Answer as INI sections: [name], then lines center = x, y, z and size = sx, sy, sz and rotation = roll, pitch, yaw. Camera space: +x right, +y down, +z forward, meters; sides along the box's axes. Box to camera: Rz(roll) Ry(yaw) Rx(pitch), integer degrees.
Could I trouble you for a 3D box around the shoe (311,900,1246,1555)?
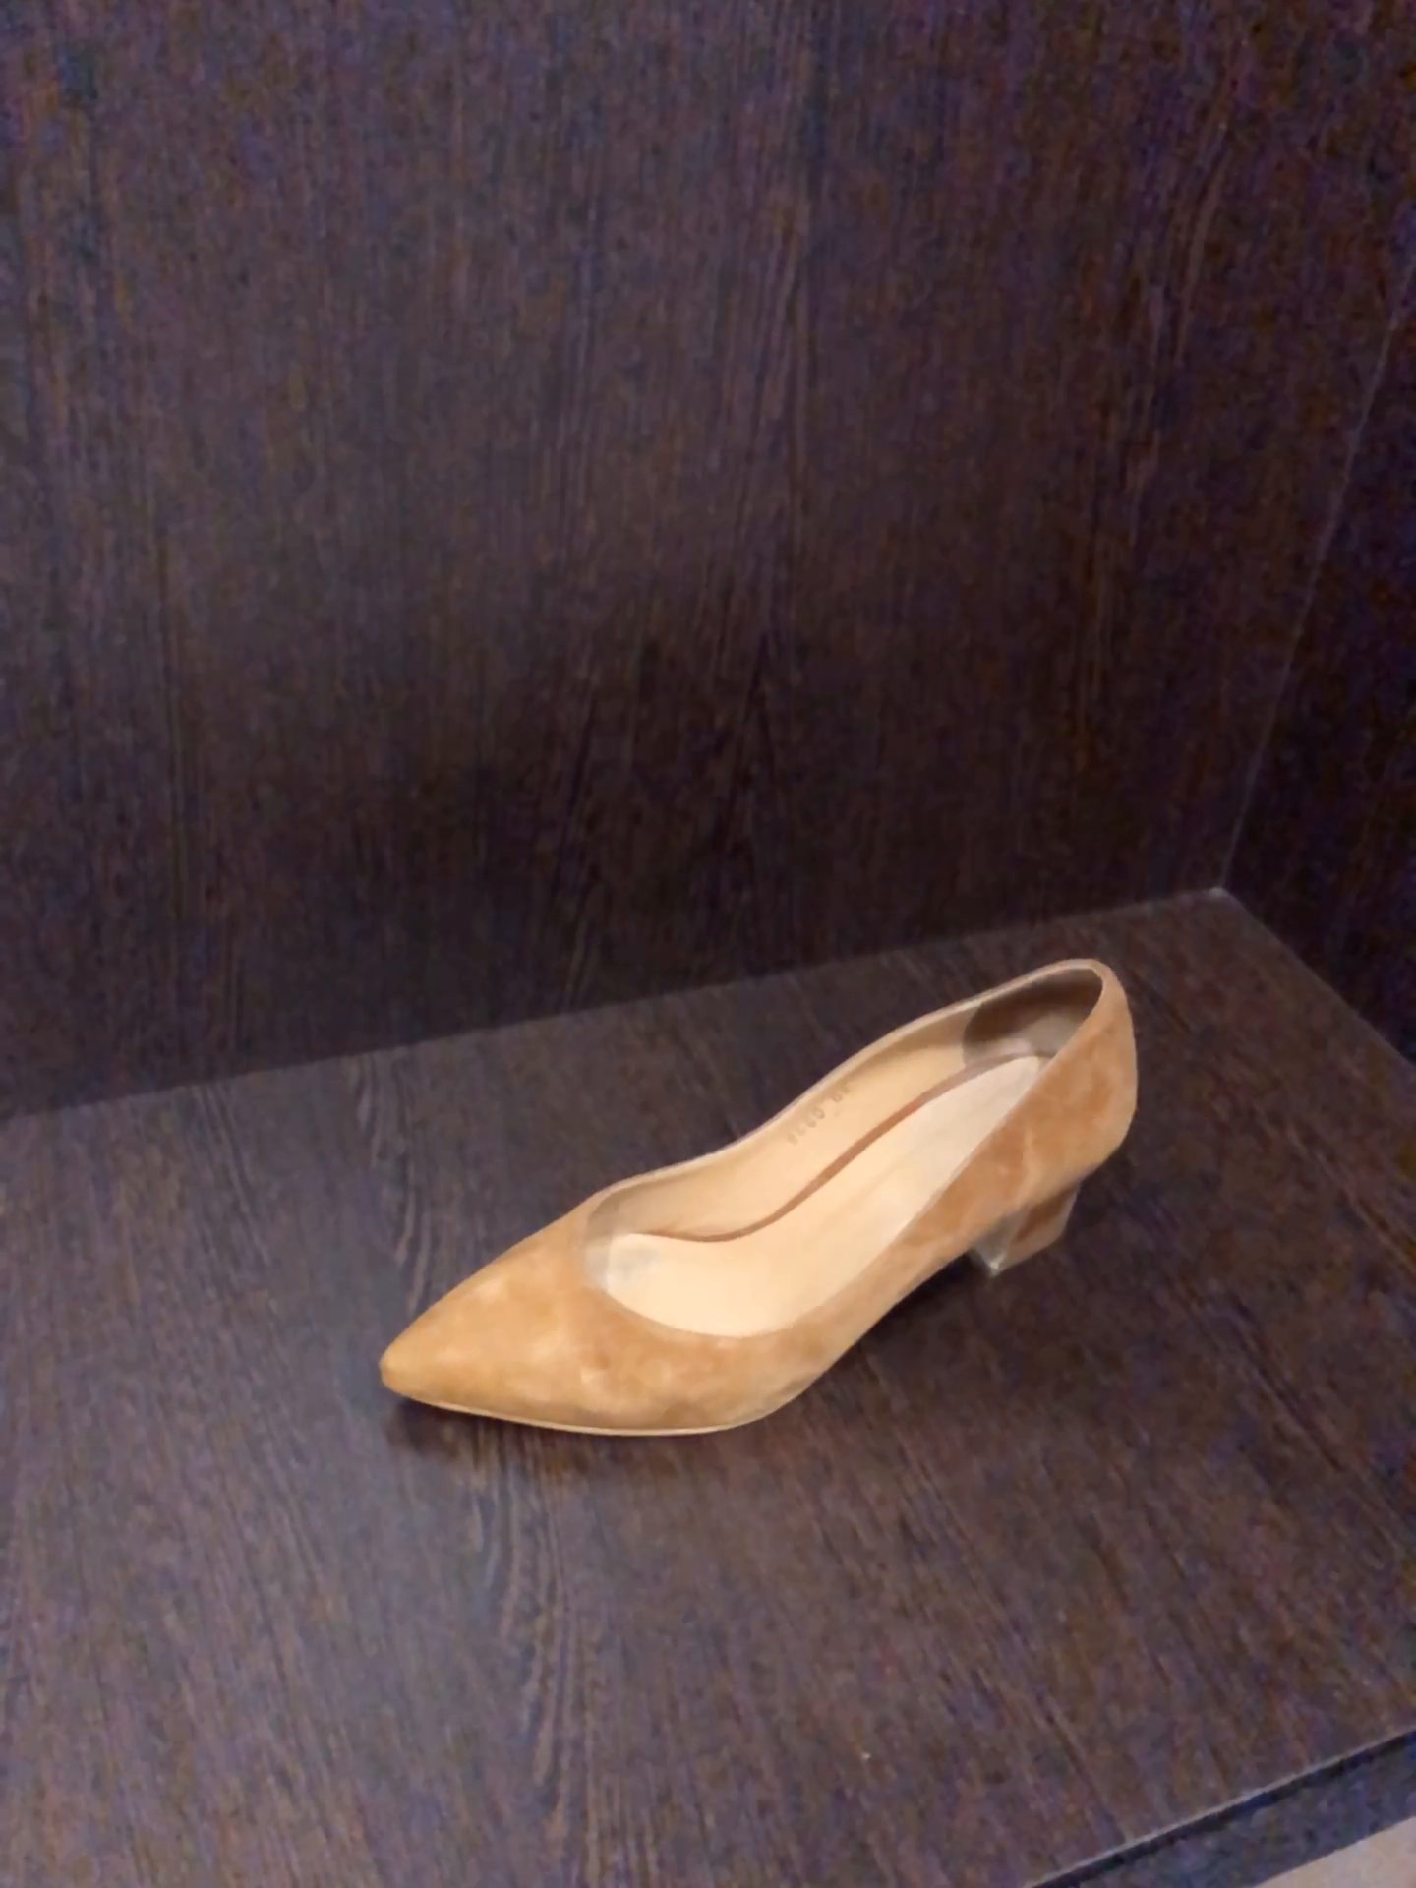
[shoe]
center = 0.024, 0.079, 0.498
size = 0.270, 0.100, 0.090
rotation = -14, 40, -22
